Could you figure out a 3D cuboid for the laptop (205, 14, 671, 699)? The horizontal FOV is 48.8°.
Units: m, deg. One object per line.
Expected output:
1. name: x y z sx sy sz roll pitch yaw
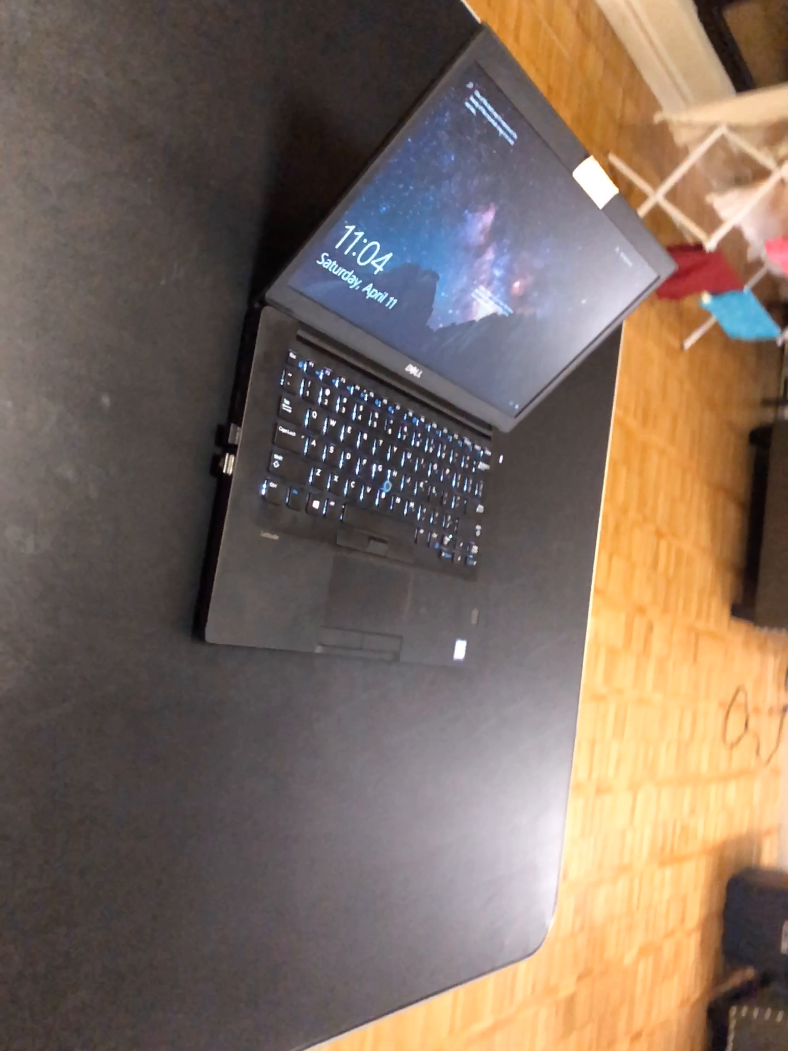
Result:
1. laptop: 0.061 -0.076 0.625 0.321 0.140 0.367 17 77 -52
